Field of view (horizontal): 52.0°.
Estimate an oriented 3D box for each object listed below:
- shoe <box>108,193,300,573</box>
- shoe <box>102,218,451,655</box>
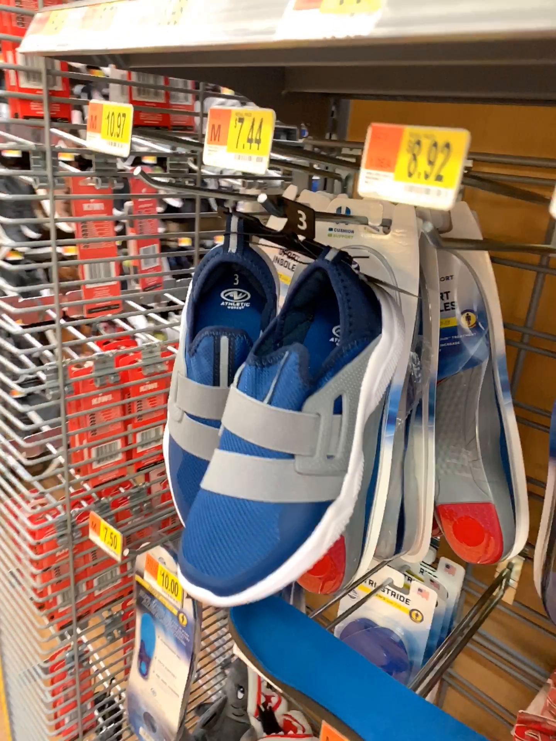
[{"bbox_3d":[-0.045,0.008,0.427,0.095,0.246,0.098,5,-8,5],"label":"shoe"},{"bbox_3d":[0.011,0.036,0.361,0.101,0.233,0.098,18,-14,31],"label":"shoe"}]
